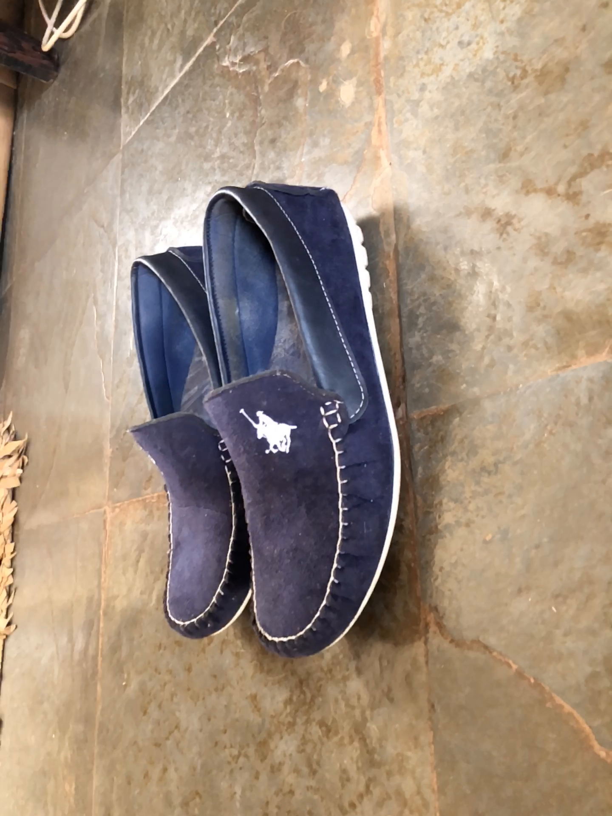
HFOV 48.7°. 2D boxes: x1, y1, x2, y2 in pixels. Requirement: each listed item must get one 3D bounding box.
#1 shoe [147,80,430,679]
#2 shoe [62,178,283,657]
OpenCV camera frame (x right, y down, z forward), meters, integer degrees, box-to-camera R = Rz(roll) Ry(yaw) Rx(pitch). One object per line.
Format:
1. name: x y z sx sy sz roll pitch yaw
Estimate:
1. shoe: -0.013 -0.010 0.347 0.100 0.090 0.260 -19 68 50
2. shoe: -0.082 0.010 0.423 0.100 0.090 0.260 -19 68 50
